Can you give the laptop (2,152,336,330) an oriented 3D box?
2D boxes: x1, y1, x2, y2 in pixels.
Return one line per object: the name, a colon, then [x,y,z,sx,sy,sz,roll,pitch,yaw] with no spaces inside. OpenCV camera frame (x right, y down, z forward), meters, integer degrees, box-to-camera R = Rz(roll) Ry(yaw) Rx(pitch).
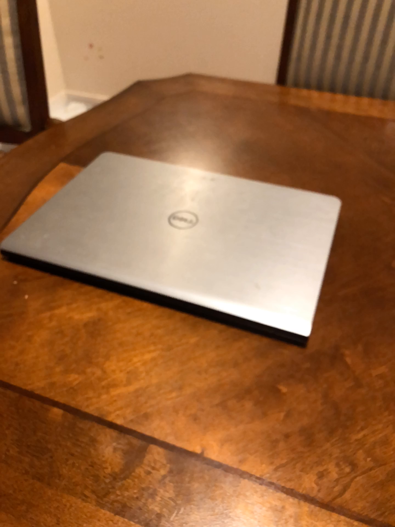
laptop: [-0.023,-0.056,0.568,0.364,0.002,0.244,14,44,15]
